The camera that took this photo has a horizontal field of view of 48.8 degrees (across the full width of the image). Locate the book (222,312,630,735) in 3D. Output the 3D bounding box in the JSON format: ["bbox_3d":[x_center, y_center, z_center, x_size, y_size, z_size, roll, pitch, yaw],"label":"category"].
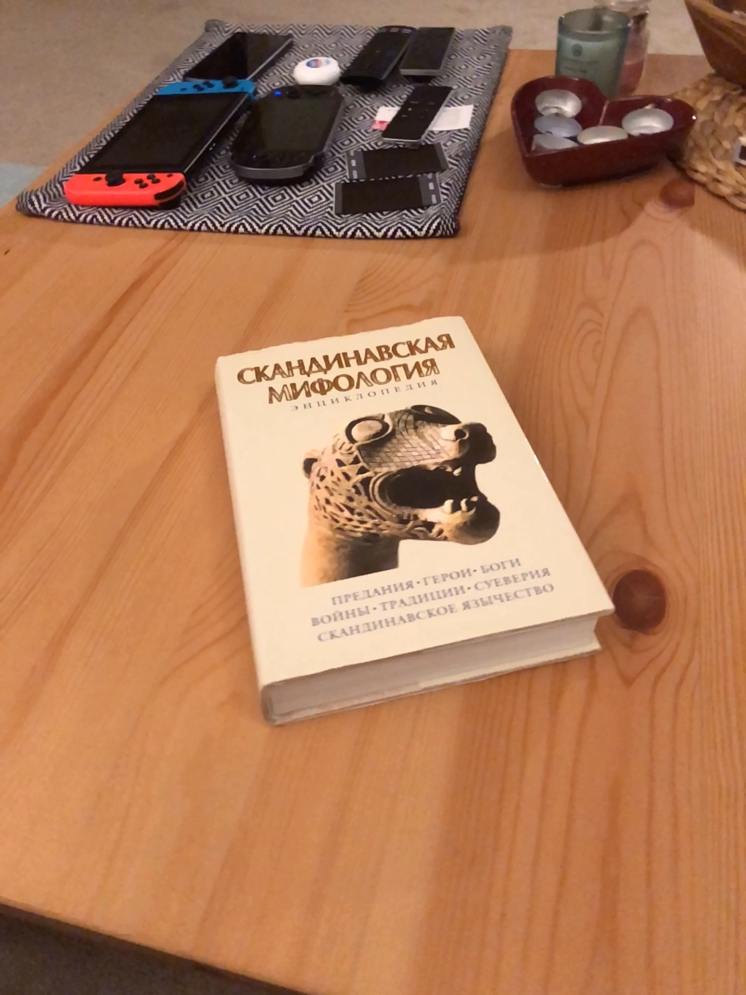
[{"bbox_3d":[0.011,-0.004,0.403,0.146,0.037,0.211,-11,48,-5],"label":"book"}]
